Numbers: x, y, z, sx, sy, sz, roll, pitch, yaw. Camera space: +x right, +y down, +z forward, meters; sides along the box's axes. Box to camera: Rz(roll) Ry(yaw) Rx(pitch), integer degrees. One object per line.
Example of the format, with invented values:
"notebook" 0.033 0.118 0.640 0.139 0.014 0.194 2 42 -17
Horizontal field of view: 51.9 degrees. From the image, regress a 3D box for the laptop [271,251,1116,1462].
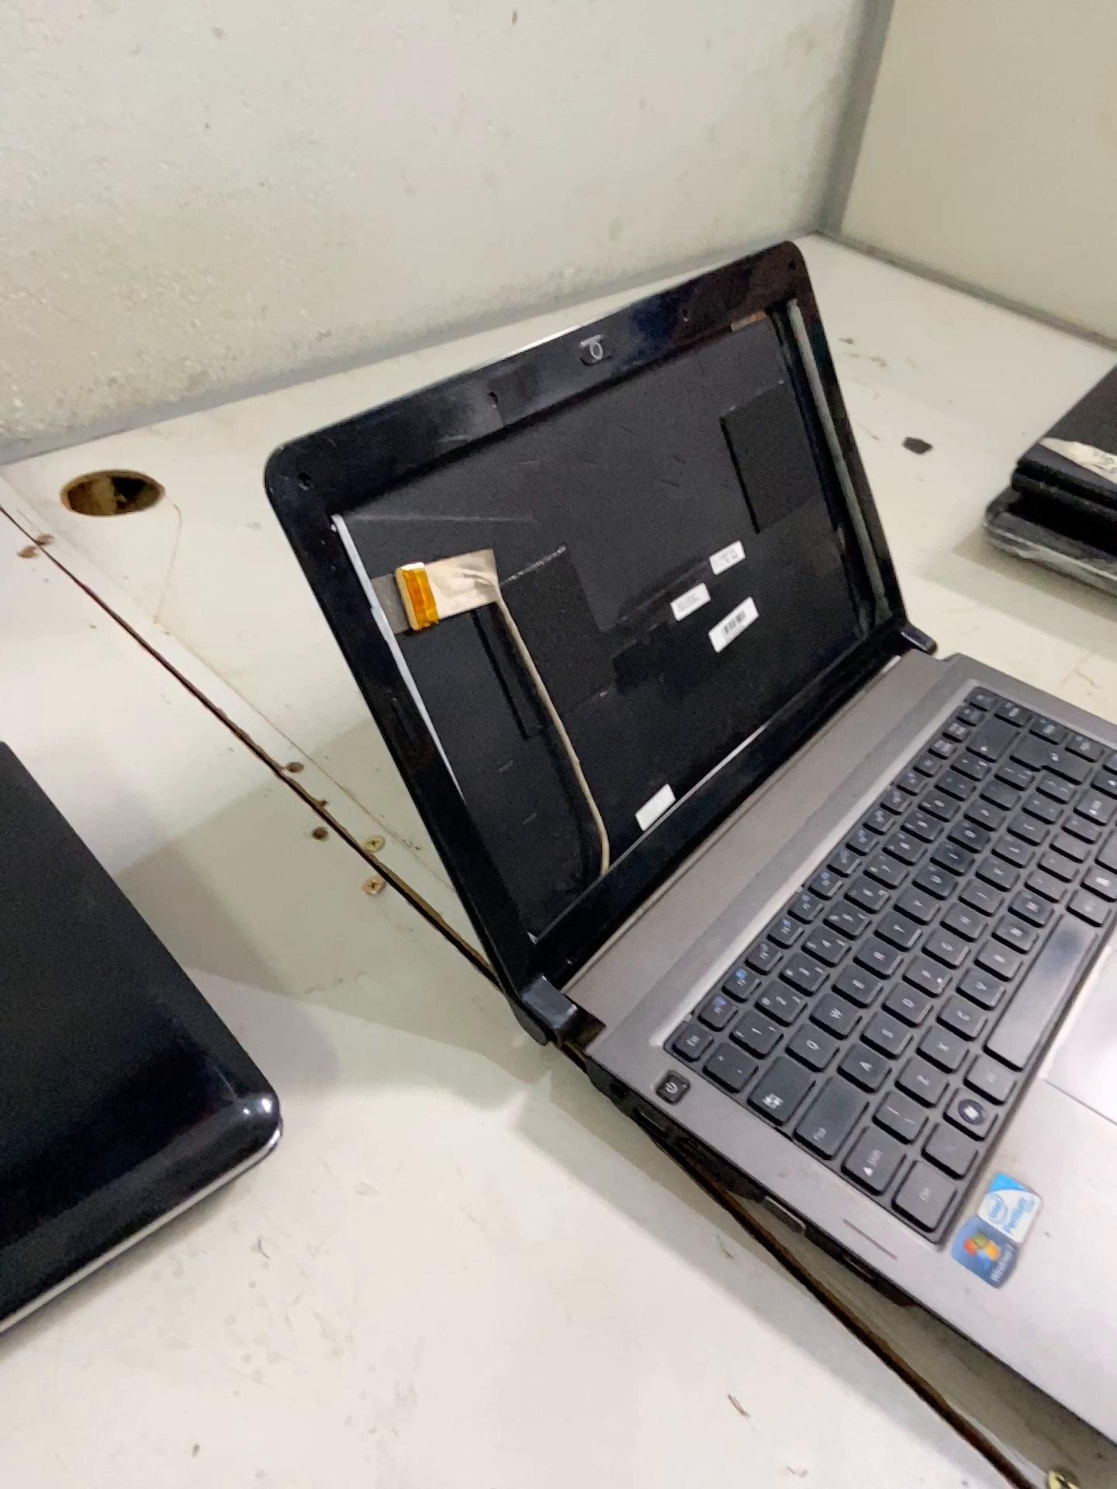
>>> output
"laptop" 0.146 -0.024 0.462 0.365 0.173 0.344 31 46 25
